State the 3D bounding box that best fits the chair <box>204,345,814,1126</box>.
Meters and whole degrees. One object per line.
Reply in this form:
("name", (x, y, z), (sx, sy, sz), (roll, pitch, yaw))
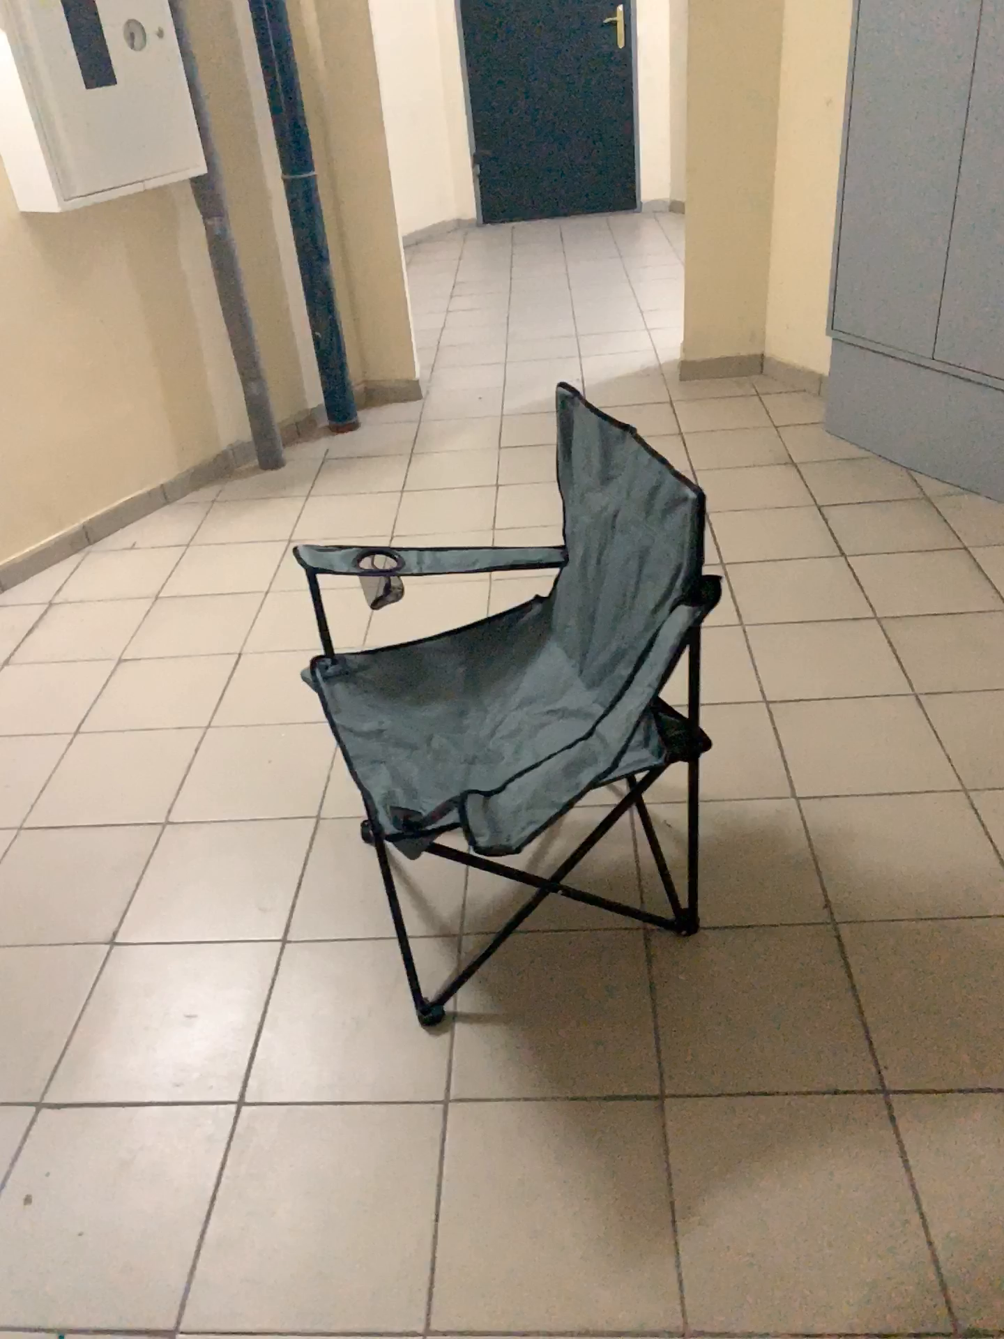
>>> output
("chair", (-0.029, 0.030, 1.573), (0.560, 0.756, 0.804), (-16, 34, -15))
